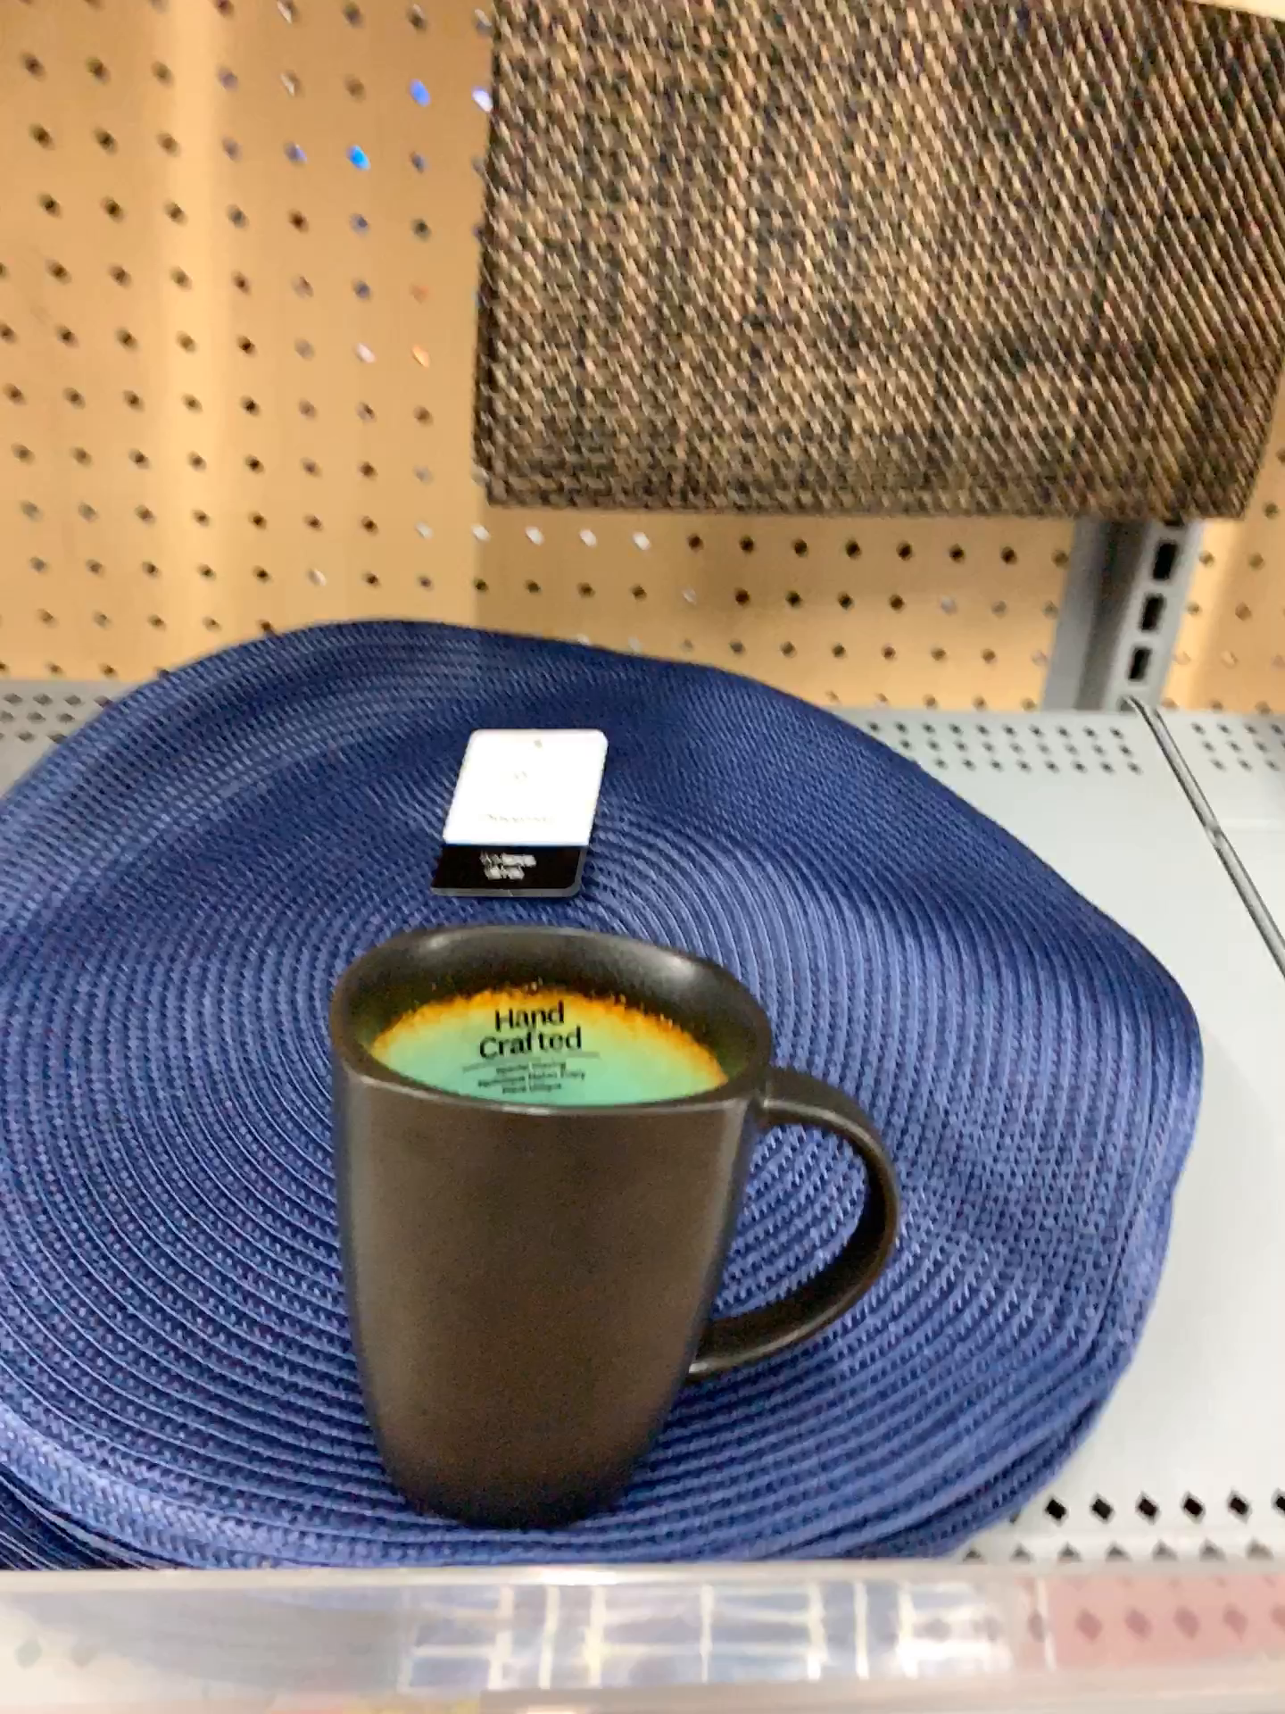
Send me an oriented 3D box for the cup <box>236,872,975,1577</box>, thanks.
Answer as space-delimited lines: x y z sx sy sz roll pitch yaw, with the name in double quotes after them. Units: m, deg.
-0.009 0.075 0.293 0.130 0.110 0.090 4 21 0 "cup"
